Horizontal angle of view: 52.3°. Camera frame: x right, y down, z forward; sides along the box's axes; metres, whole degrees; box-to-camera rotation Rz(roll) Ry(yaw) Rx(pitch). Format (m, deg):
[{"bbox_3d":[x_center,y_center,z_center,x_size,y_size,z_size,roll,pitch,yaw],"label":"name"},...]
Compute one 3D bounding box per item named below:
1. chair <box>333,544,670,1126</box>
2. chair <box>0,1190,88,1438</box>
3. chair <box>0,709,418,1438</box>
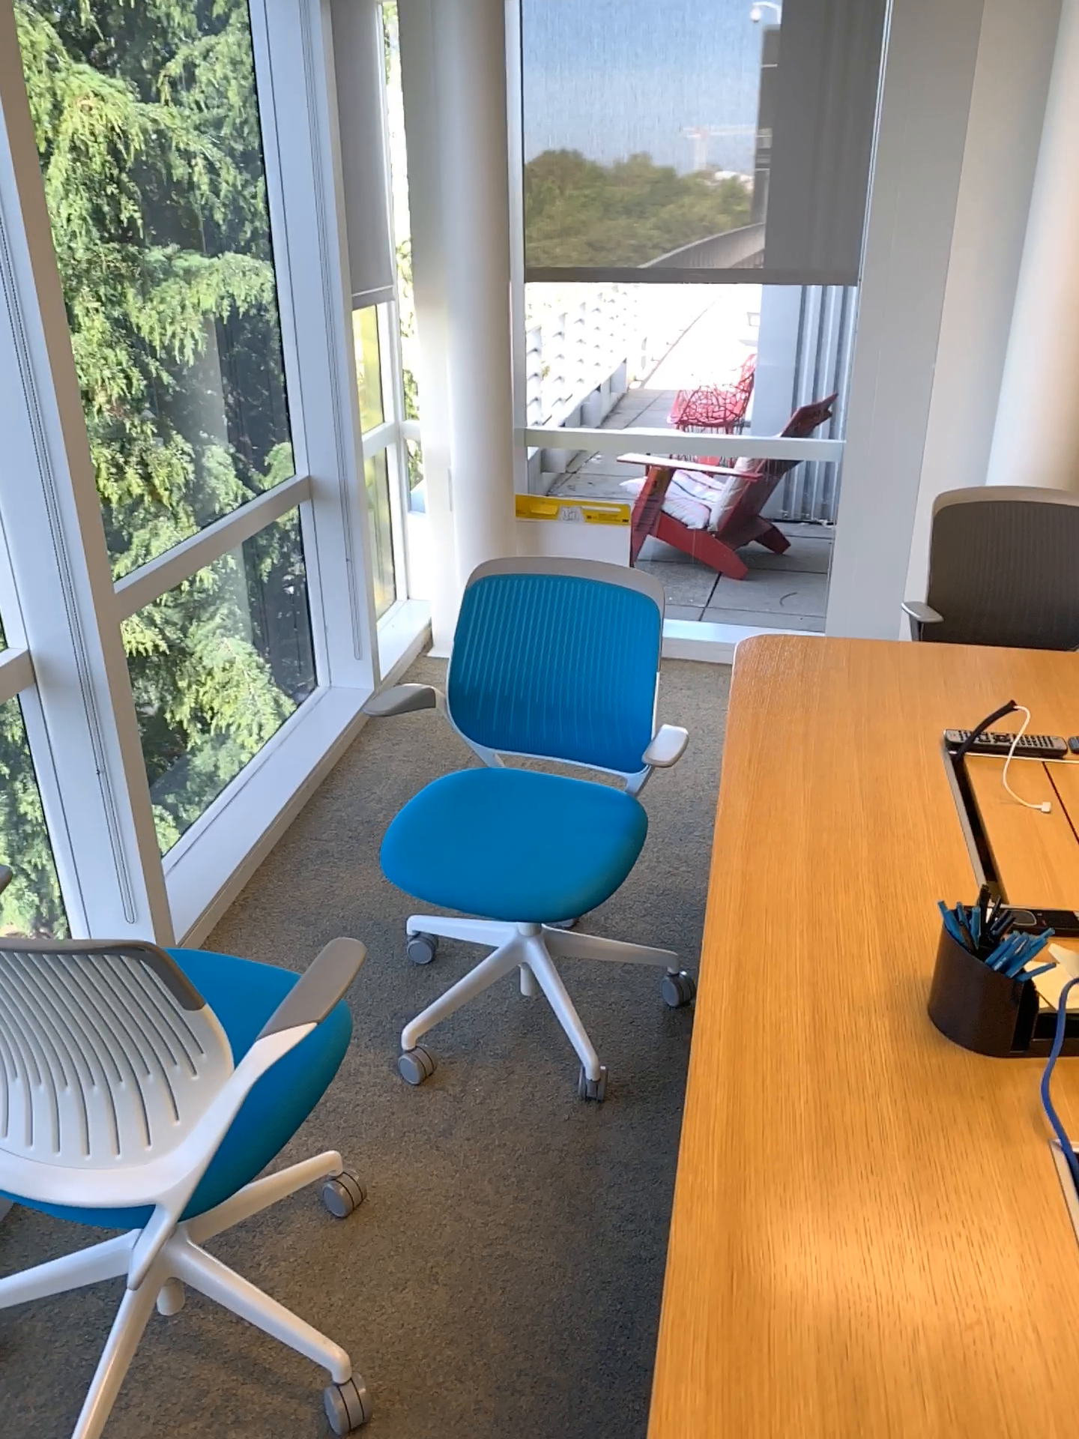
[{"bbox_3d":[-0.045,0.237,2.531,0.541,1.094,0.633,7,26,14],"label":"chair"},{"bbox_3d":[-1.009,1.107,0.863,0.870,1.134,0.734,-2,25,-4],"label":"chair"},{"bbox_3d":[-0.590,0.596,1.594,0.650,1.014,0.643,3,25,6],"label":"chair"}]
